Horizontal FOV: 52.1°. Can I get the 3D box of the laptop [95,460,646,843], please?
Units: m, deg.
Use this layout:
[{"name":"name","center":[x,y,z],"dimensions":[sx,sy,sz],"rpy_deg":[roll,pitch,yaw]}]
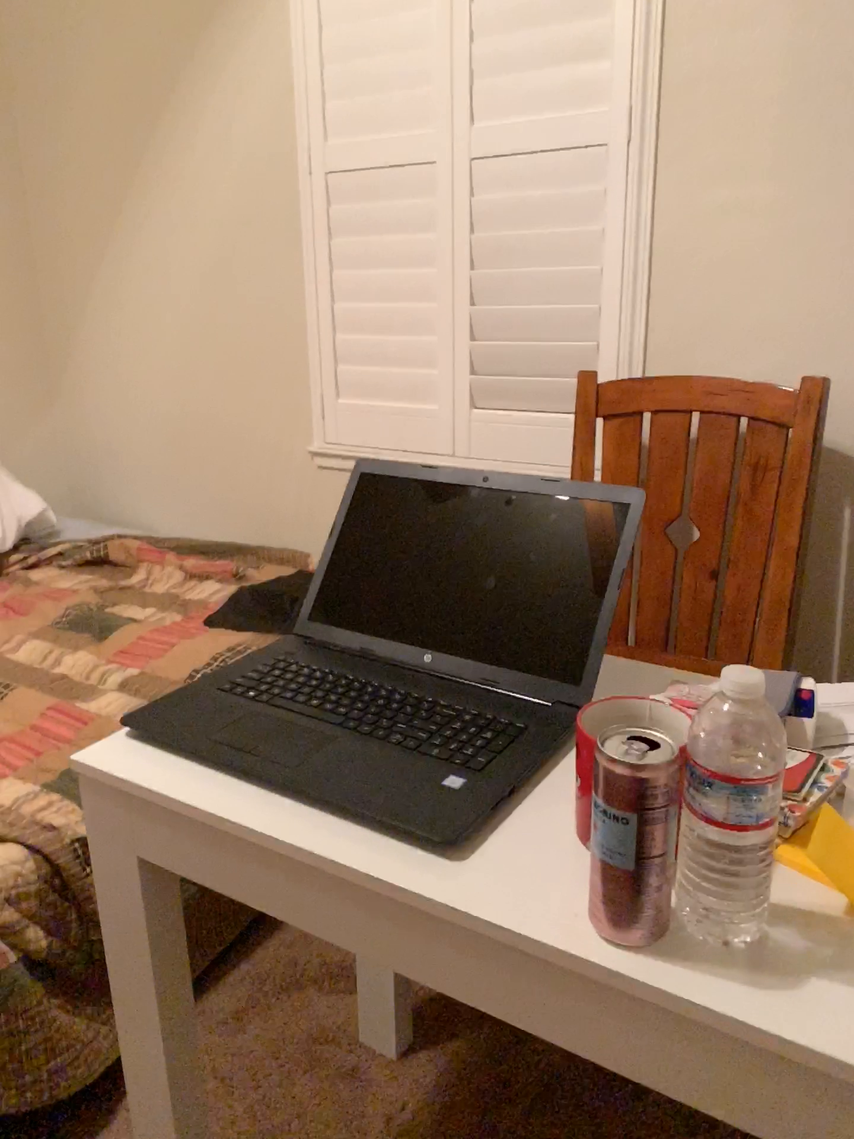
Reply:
[{"name":"laptop","center":[-0.039,0.033,0.927],"dimensions":[0.400,0.197,0.417],"rpy_deg":[10,21,32]}]
